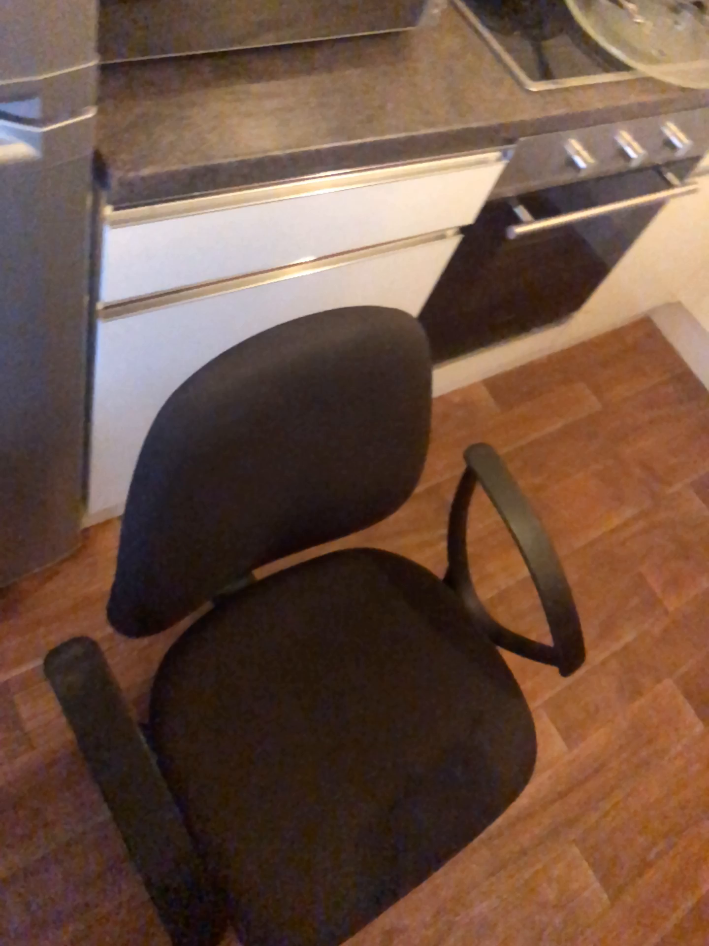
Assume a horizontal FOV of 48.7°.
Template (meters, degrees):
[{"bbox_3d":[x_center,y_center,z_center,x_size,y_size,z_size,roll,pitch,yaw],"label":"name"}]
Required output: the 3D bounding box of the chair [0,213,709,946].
[{"bbox_3d":[-0.017,0.271,1.051,0.638,0.883,0.643,-24,72,-30],"label":"chair"}]
